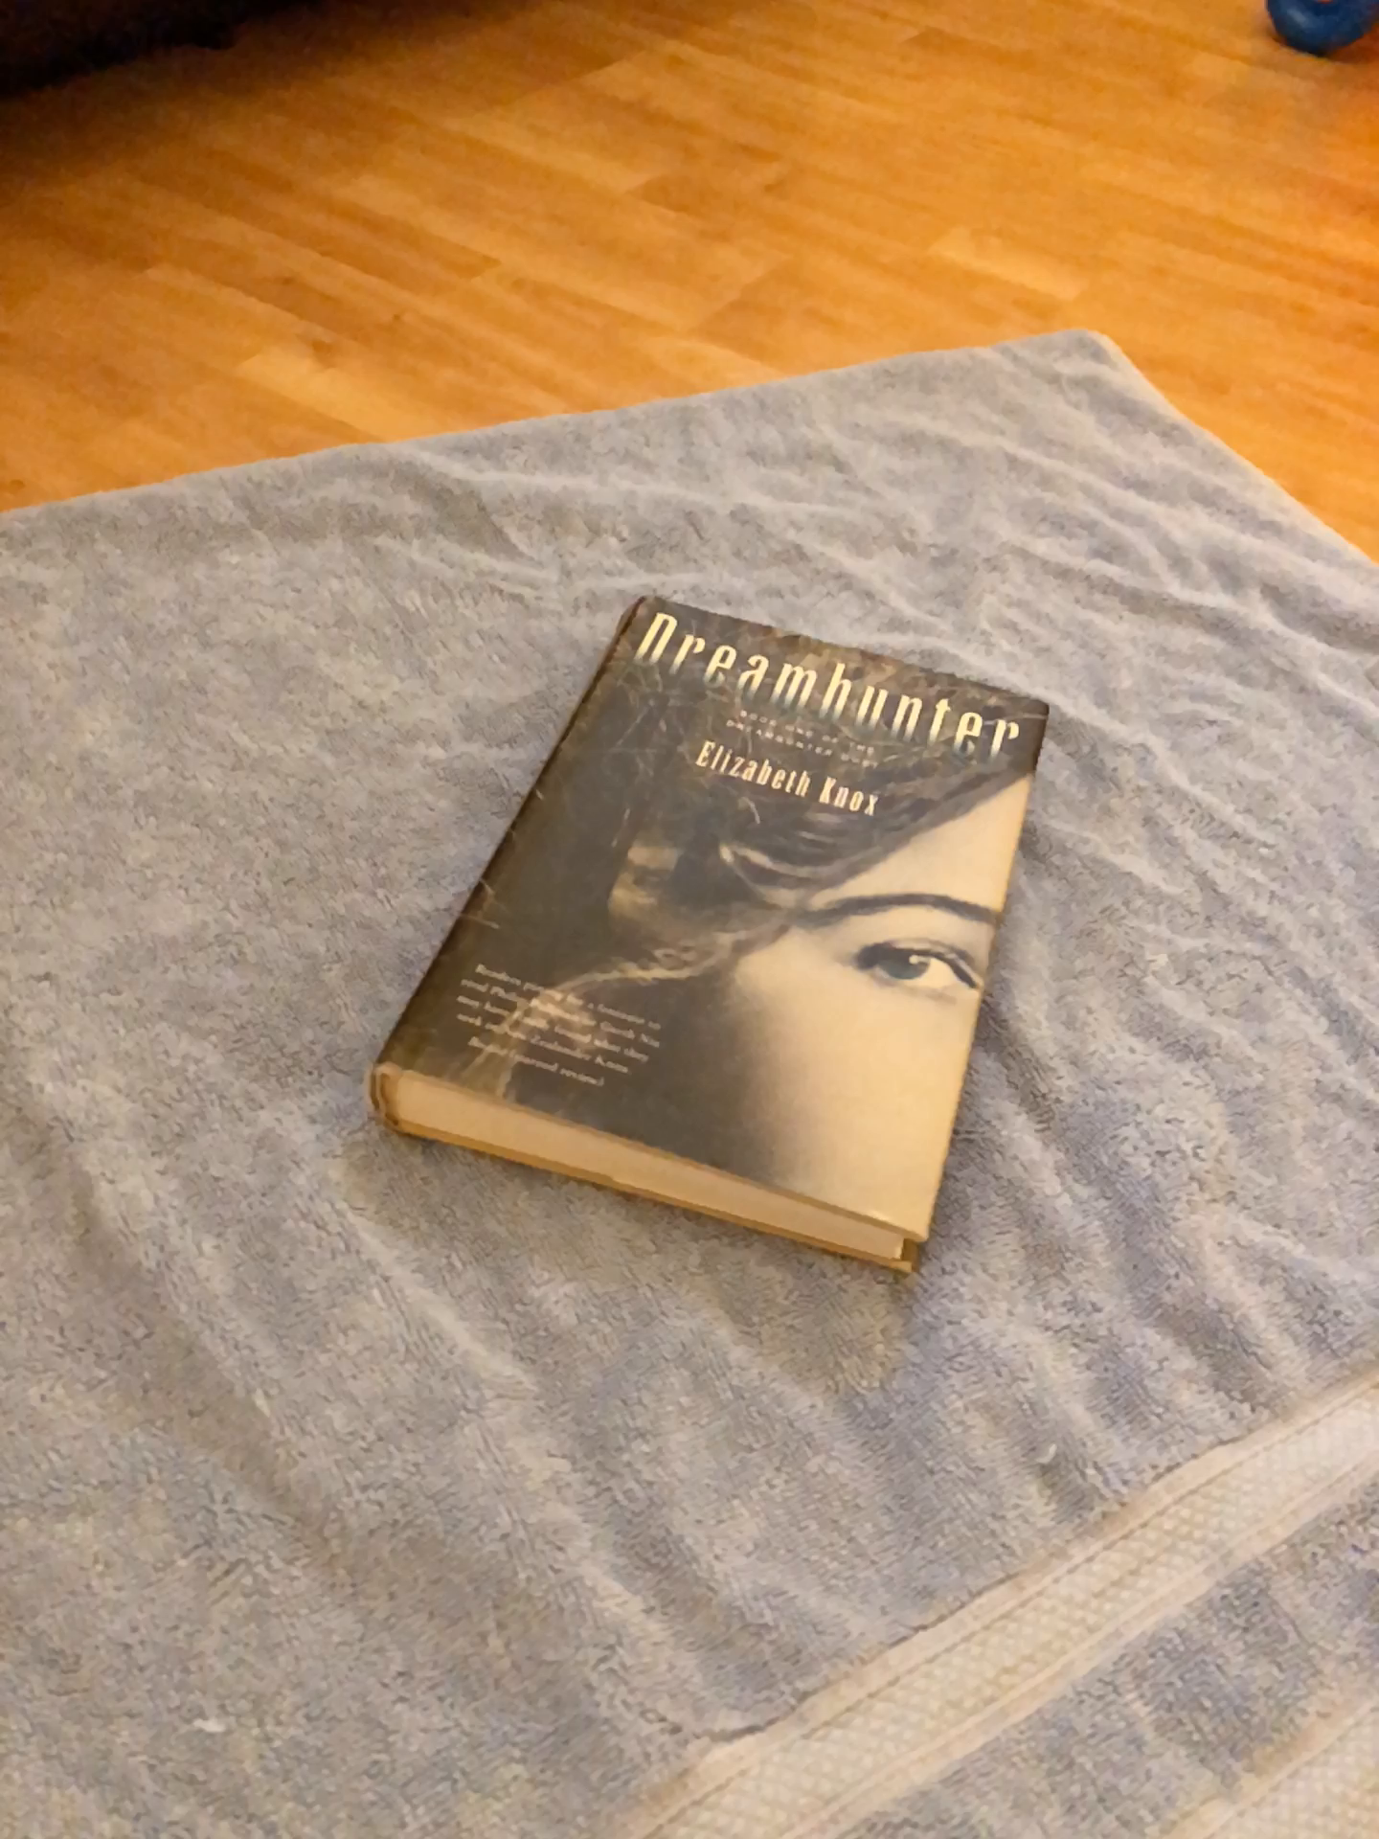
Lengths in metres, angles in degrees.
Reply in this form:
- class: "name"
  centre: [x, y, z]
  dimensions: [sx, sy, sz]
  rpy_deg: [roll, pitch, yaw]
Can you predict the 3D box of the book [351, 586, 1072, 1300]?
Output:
- class: "book"
  centre: [0.021, -0.011, 0.472]
  dimensions: [0.163, 0.030, 0.226]
  rpy_deg: [17, 47, 7]
